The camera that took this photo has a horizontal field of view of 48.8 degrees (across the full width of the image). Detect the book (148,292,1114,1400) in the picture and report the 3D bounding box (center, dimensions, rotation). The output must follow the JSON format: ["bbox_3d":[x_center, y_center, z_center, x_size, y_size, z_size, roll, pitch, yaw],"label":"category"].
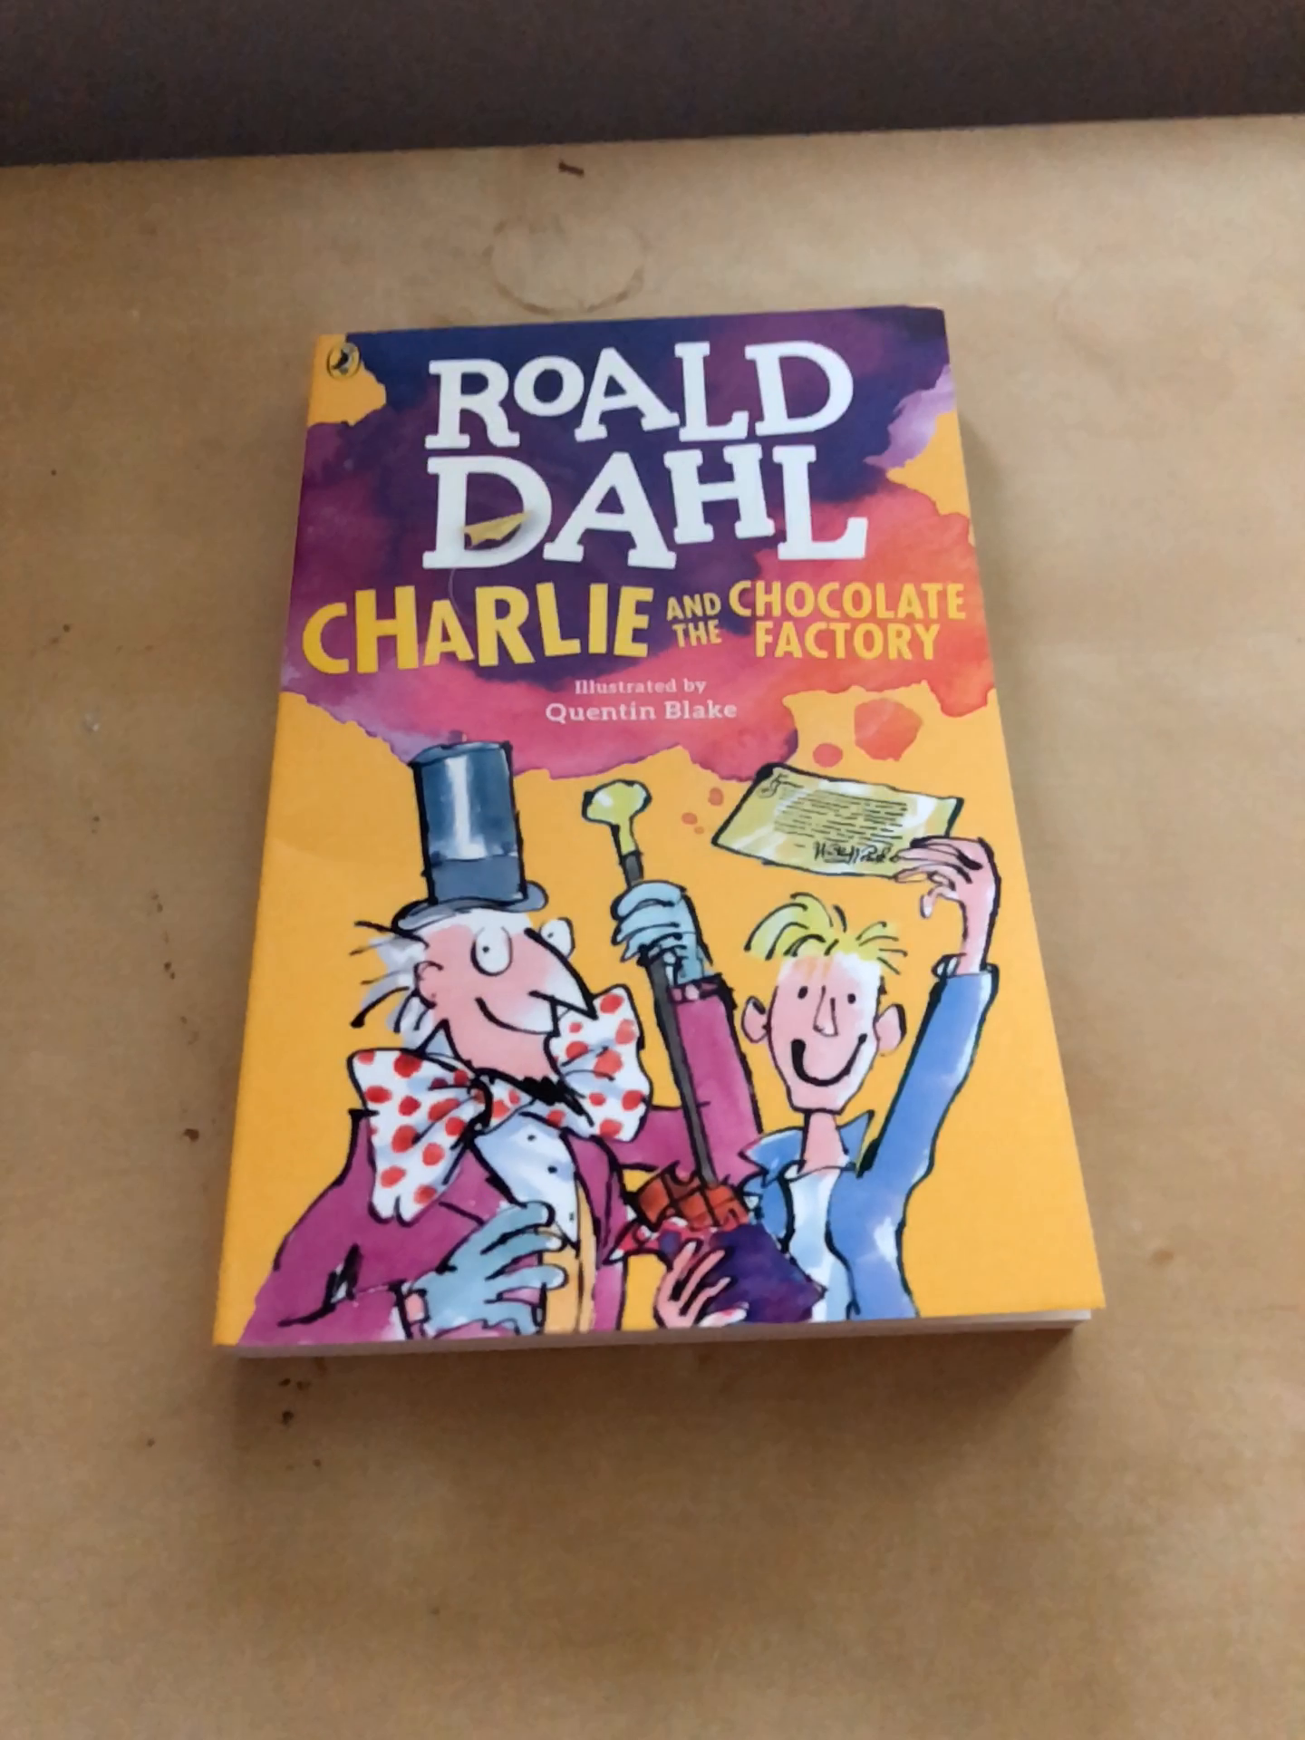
[{"bbox_3d":[-0.006,-0.015,0.263,0.134,0.040,0.202,-2,64,0],"label":"book"}]
